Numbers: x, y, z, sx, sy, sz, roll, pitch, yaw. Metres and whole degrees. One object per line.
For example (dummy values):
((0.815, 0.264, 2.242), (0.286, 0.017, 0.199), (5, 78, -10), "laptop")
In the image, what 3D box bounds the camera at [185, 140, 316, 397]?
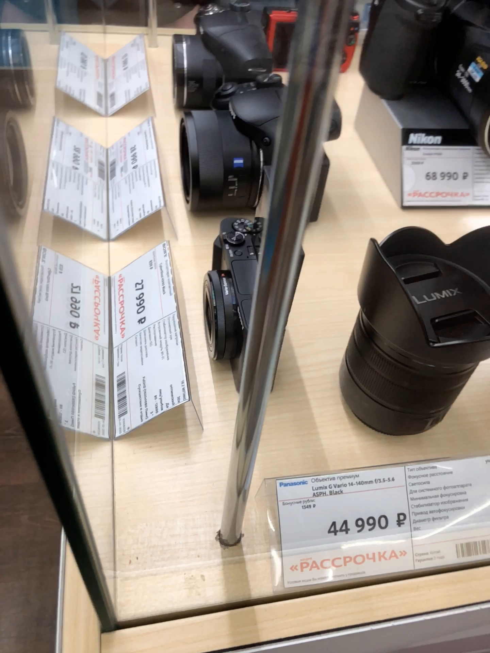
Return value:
((-0.005, -0.033, 0.315), (0.050, 0.107, 0.100), (-4, 48, -10), "camera")

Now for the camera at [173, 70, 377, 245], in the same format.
((0.014, -0.143, 0.450), (0.136, 0.078, 0.133), (-4, 48, -10), "camera")
